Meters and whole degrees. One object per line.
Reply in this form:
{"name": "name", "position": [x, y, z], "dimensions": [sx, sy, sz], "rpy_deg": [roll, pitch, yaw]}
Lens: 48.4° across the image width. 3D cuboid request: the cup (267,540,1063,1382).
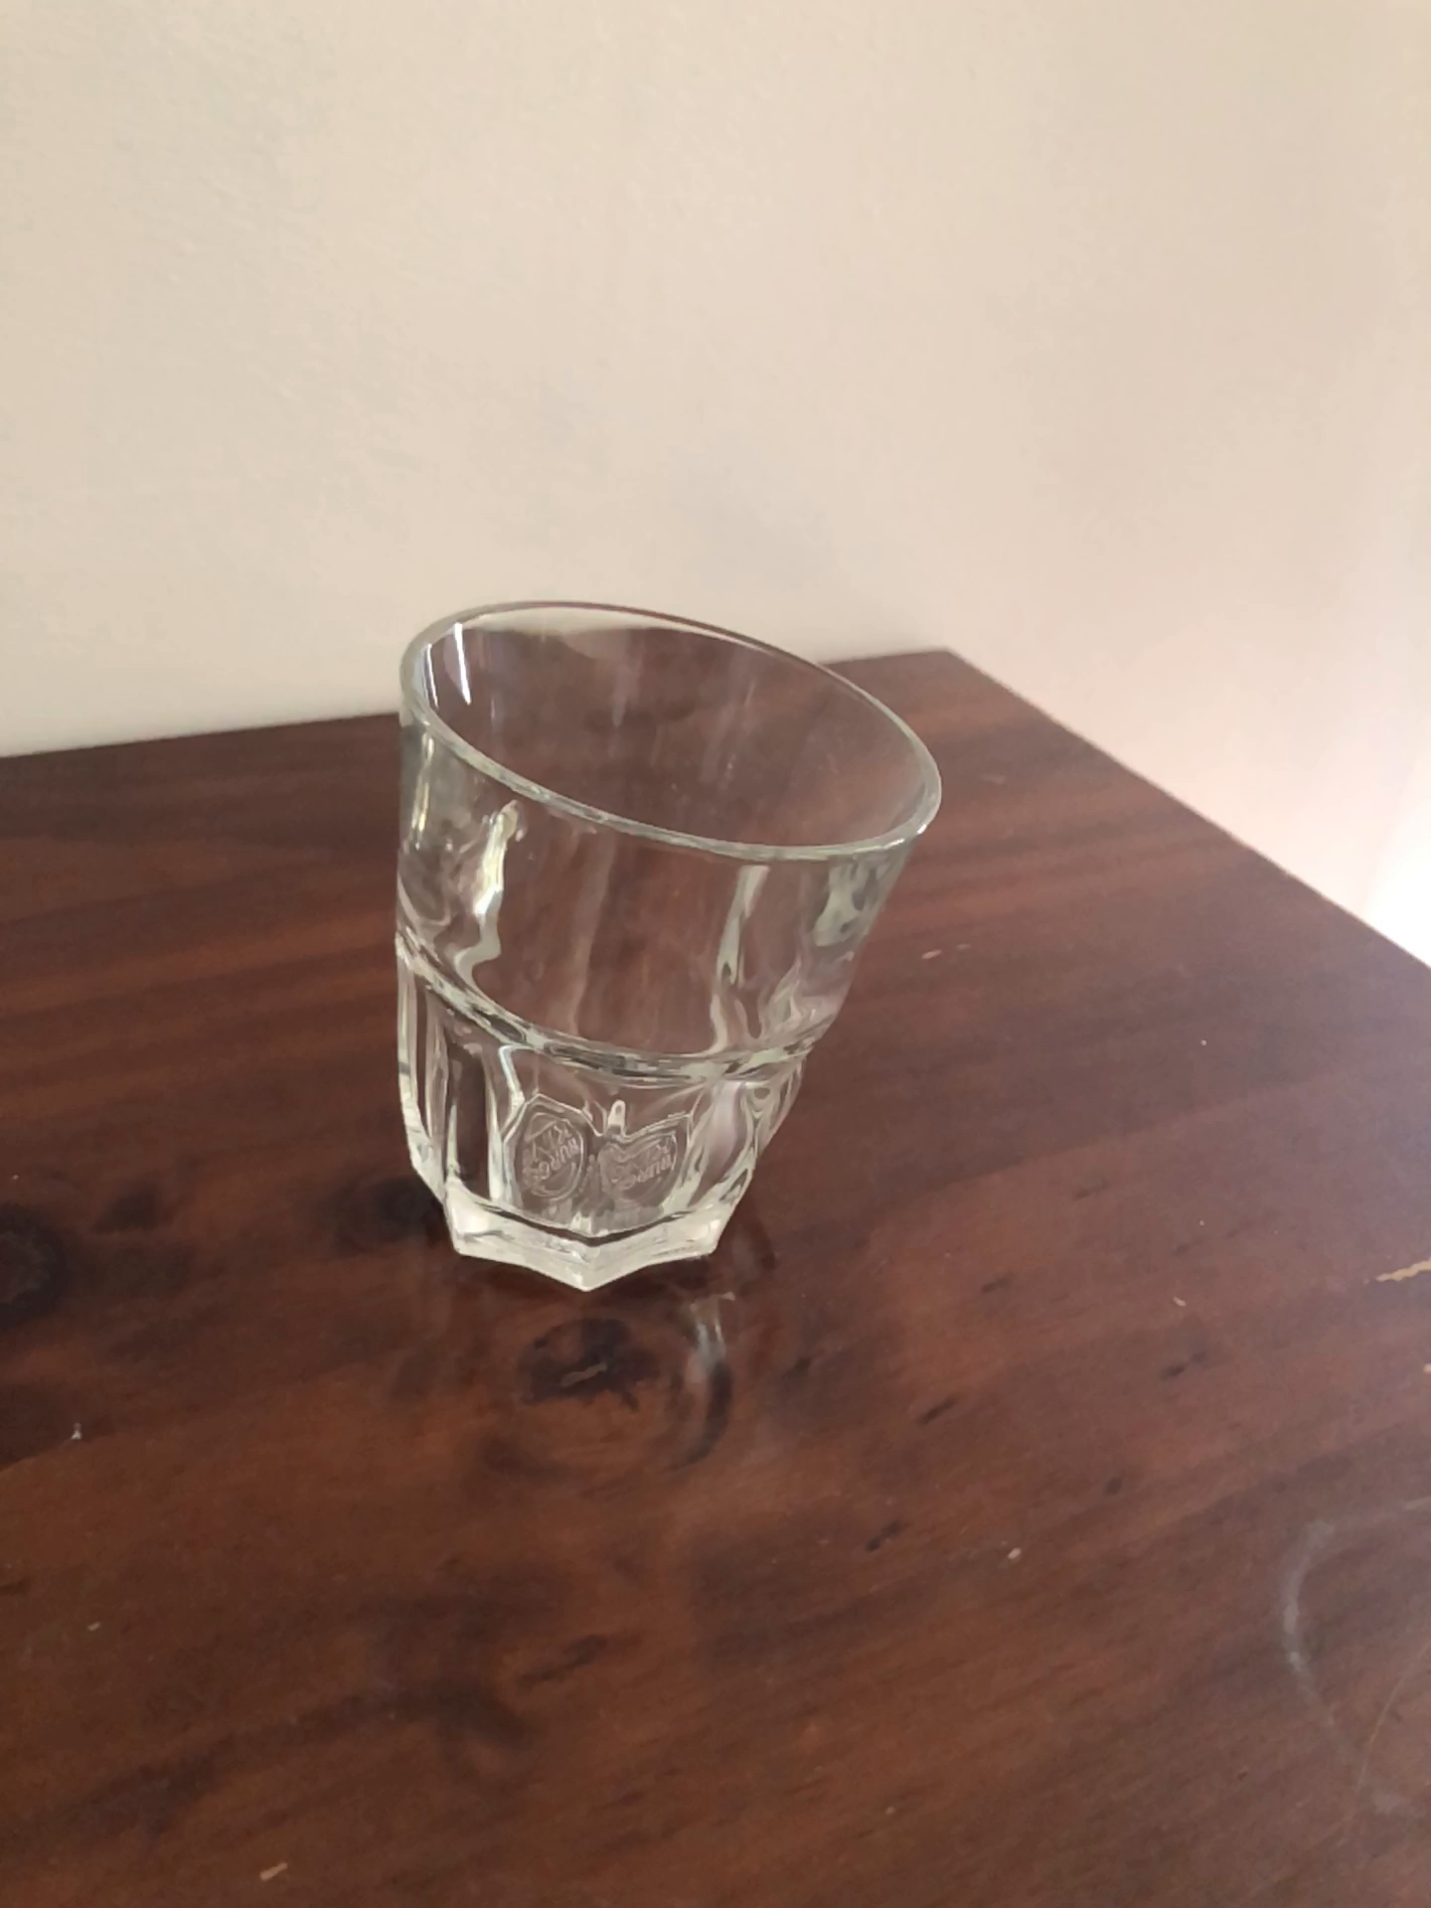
{"name": "cup", "position": [-0.008, -0.002, 0.263], "dimensions": [0.100, 0.095, 0.090], "rpy_deg": [6, 31, 0]}
